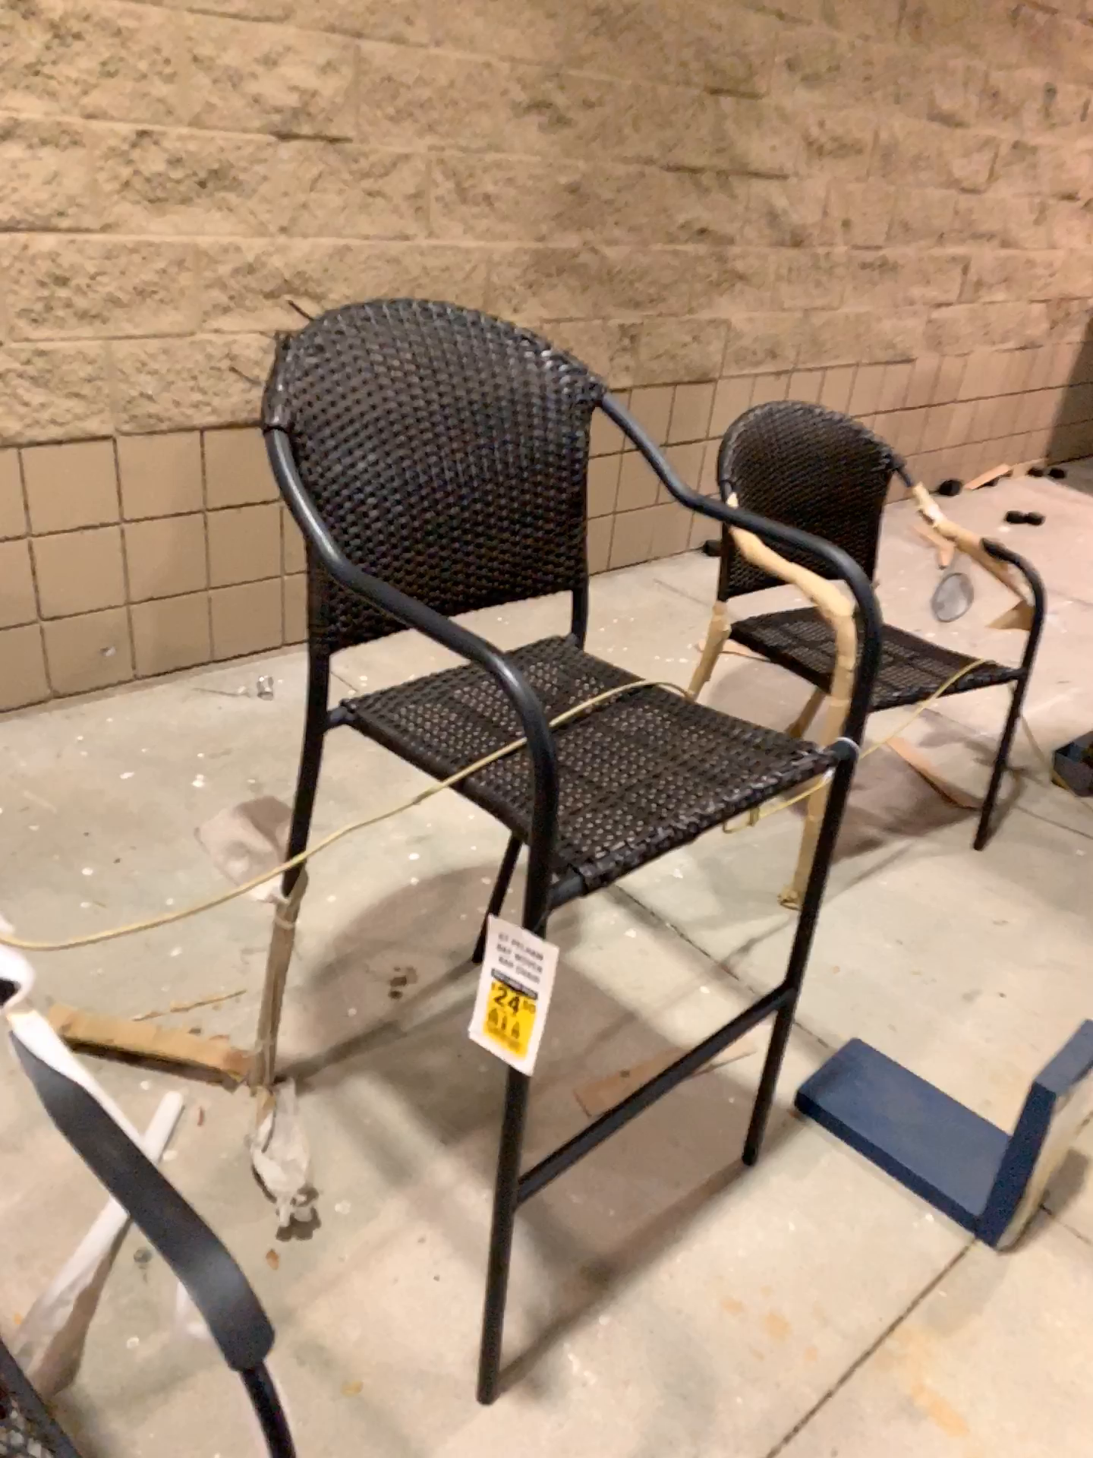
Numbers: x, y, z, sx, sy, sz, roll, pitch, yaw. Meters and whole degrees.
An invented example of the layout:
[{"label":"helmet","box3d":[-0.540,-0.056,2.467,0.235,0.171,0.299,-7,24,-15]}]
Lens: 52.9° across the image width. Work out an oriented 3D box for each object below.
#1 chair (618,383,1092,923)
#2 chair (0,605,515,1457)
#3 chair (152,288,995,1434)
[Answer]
[{"label":"chair","box3d":[0.606,-0.194,2.228,0.568,0.833,0.630,-10,34,-28]},{"label":"chair","box3d":[-0.477,0.470,0.728,0.609,0.833,0.579,29,36,34]},{"label":"chair","box3d":[-0.034,0.111,1.332,0.558,1.101,0.609,-21,39,-40]}]
